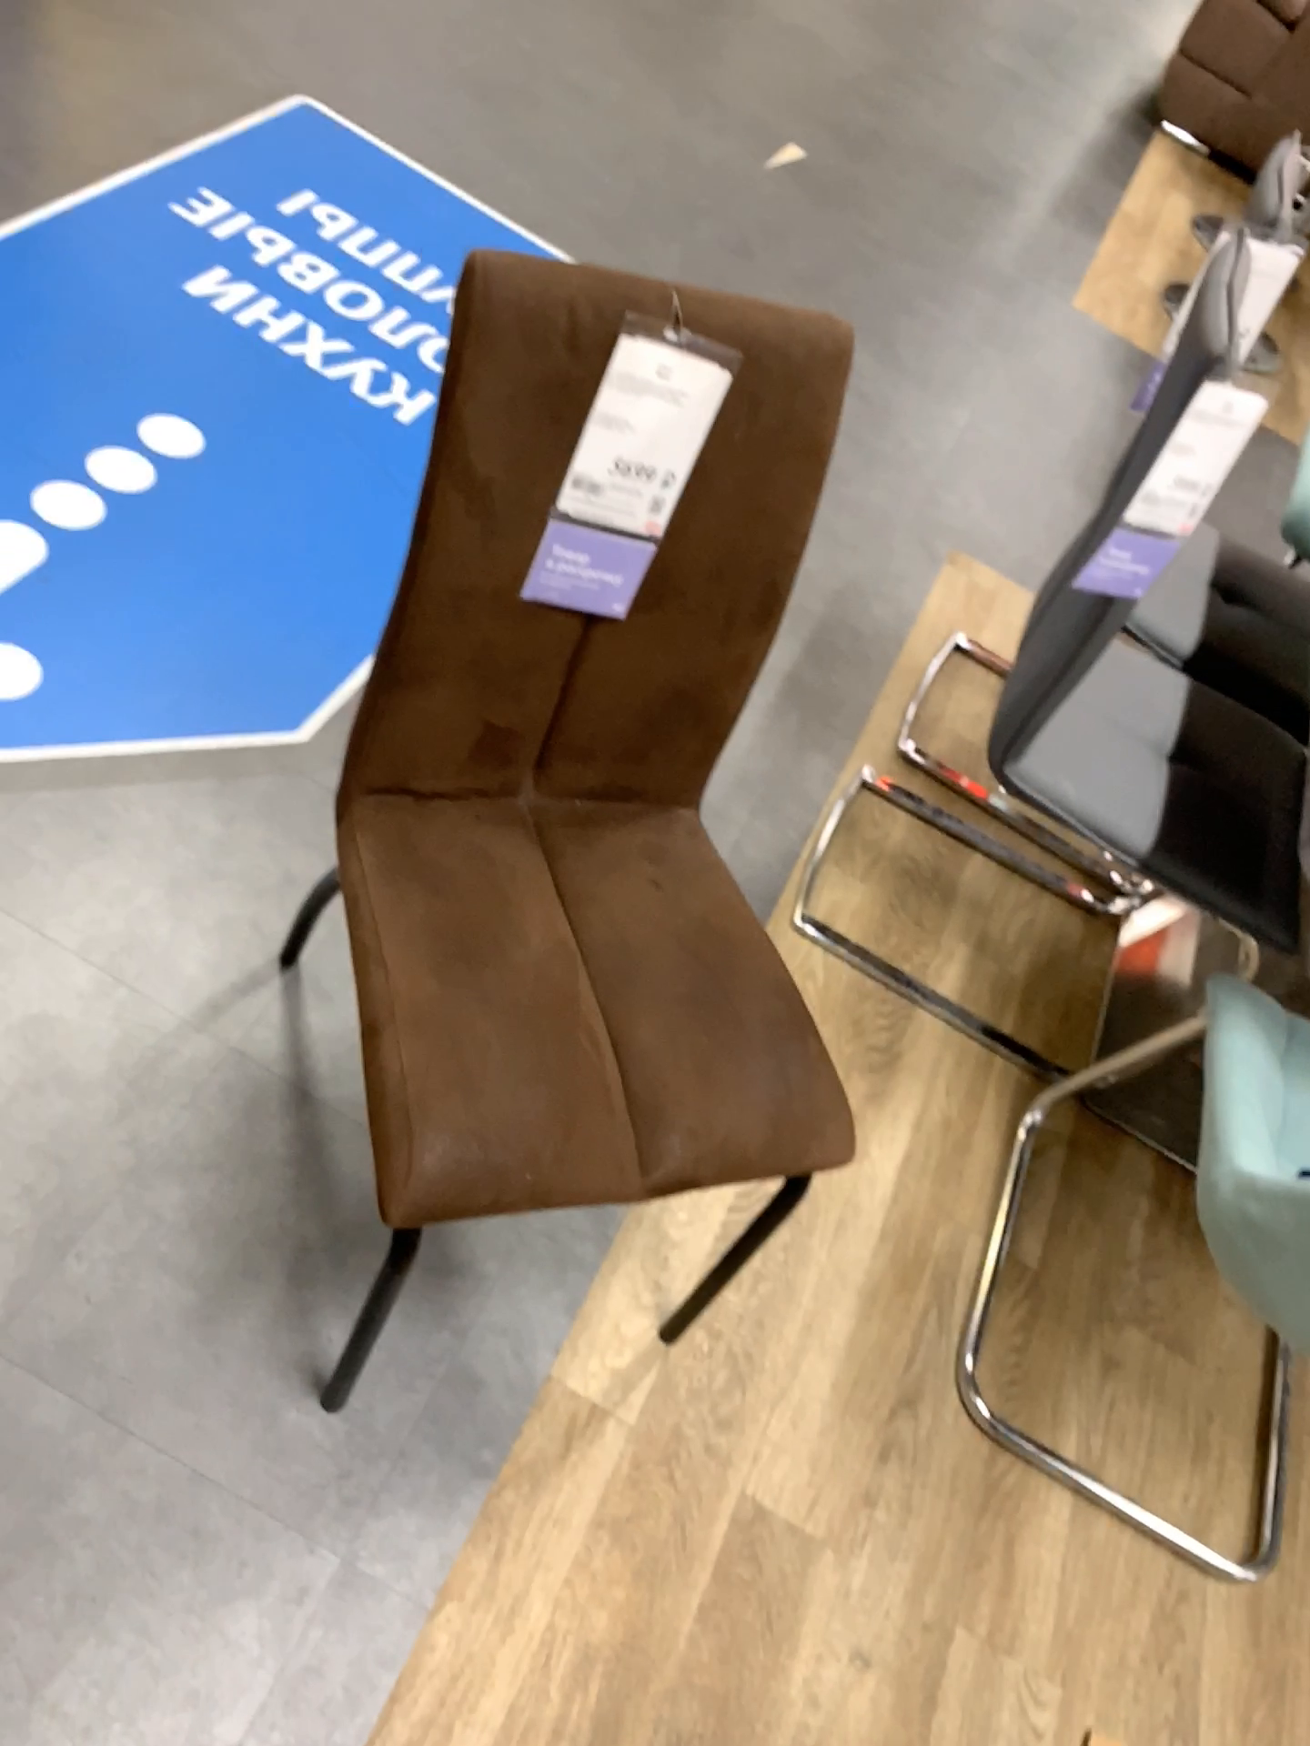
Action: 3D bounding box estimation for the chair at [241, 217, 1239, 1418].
[{"bbox_3d":[-0.068,0.037,1.287,0.441,0.965,0.591,-1,55,-27],"label":"chair"}]
